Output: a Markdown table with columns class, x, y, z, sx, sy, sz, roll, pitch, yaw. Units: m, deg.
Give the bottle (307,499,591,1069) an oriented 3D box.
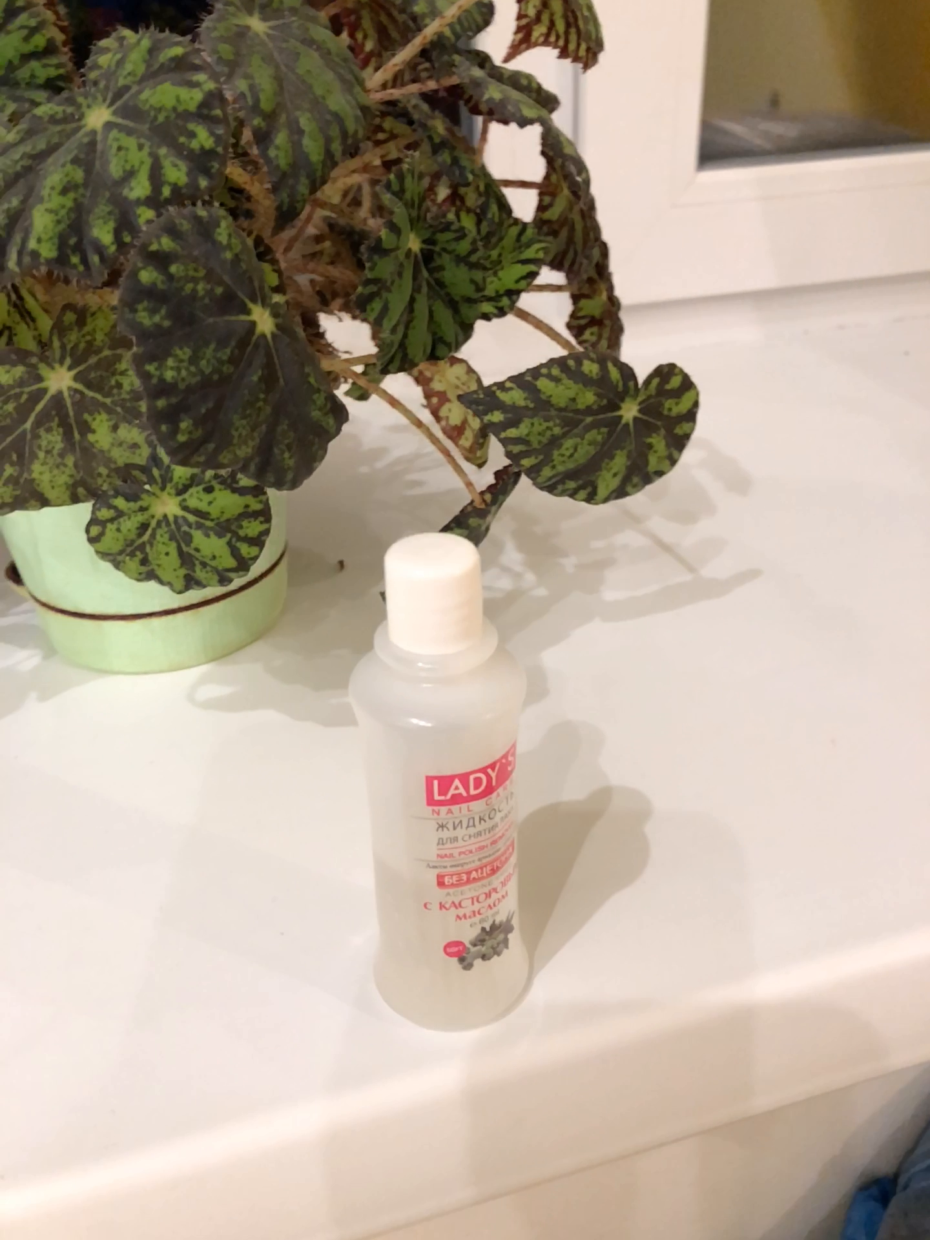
| class | x | y | z | sx | sy | sz | roll | pitch | yaw |
| --- | --- | --- | --- | --- | --- | --- | --- | --- | --- |
| bottle | -0.001 | 0.034 | 0.210 | 0.037 | 0.105 | 0.037 | -2 | 29 | 1 |
